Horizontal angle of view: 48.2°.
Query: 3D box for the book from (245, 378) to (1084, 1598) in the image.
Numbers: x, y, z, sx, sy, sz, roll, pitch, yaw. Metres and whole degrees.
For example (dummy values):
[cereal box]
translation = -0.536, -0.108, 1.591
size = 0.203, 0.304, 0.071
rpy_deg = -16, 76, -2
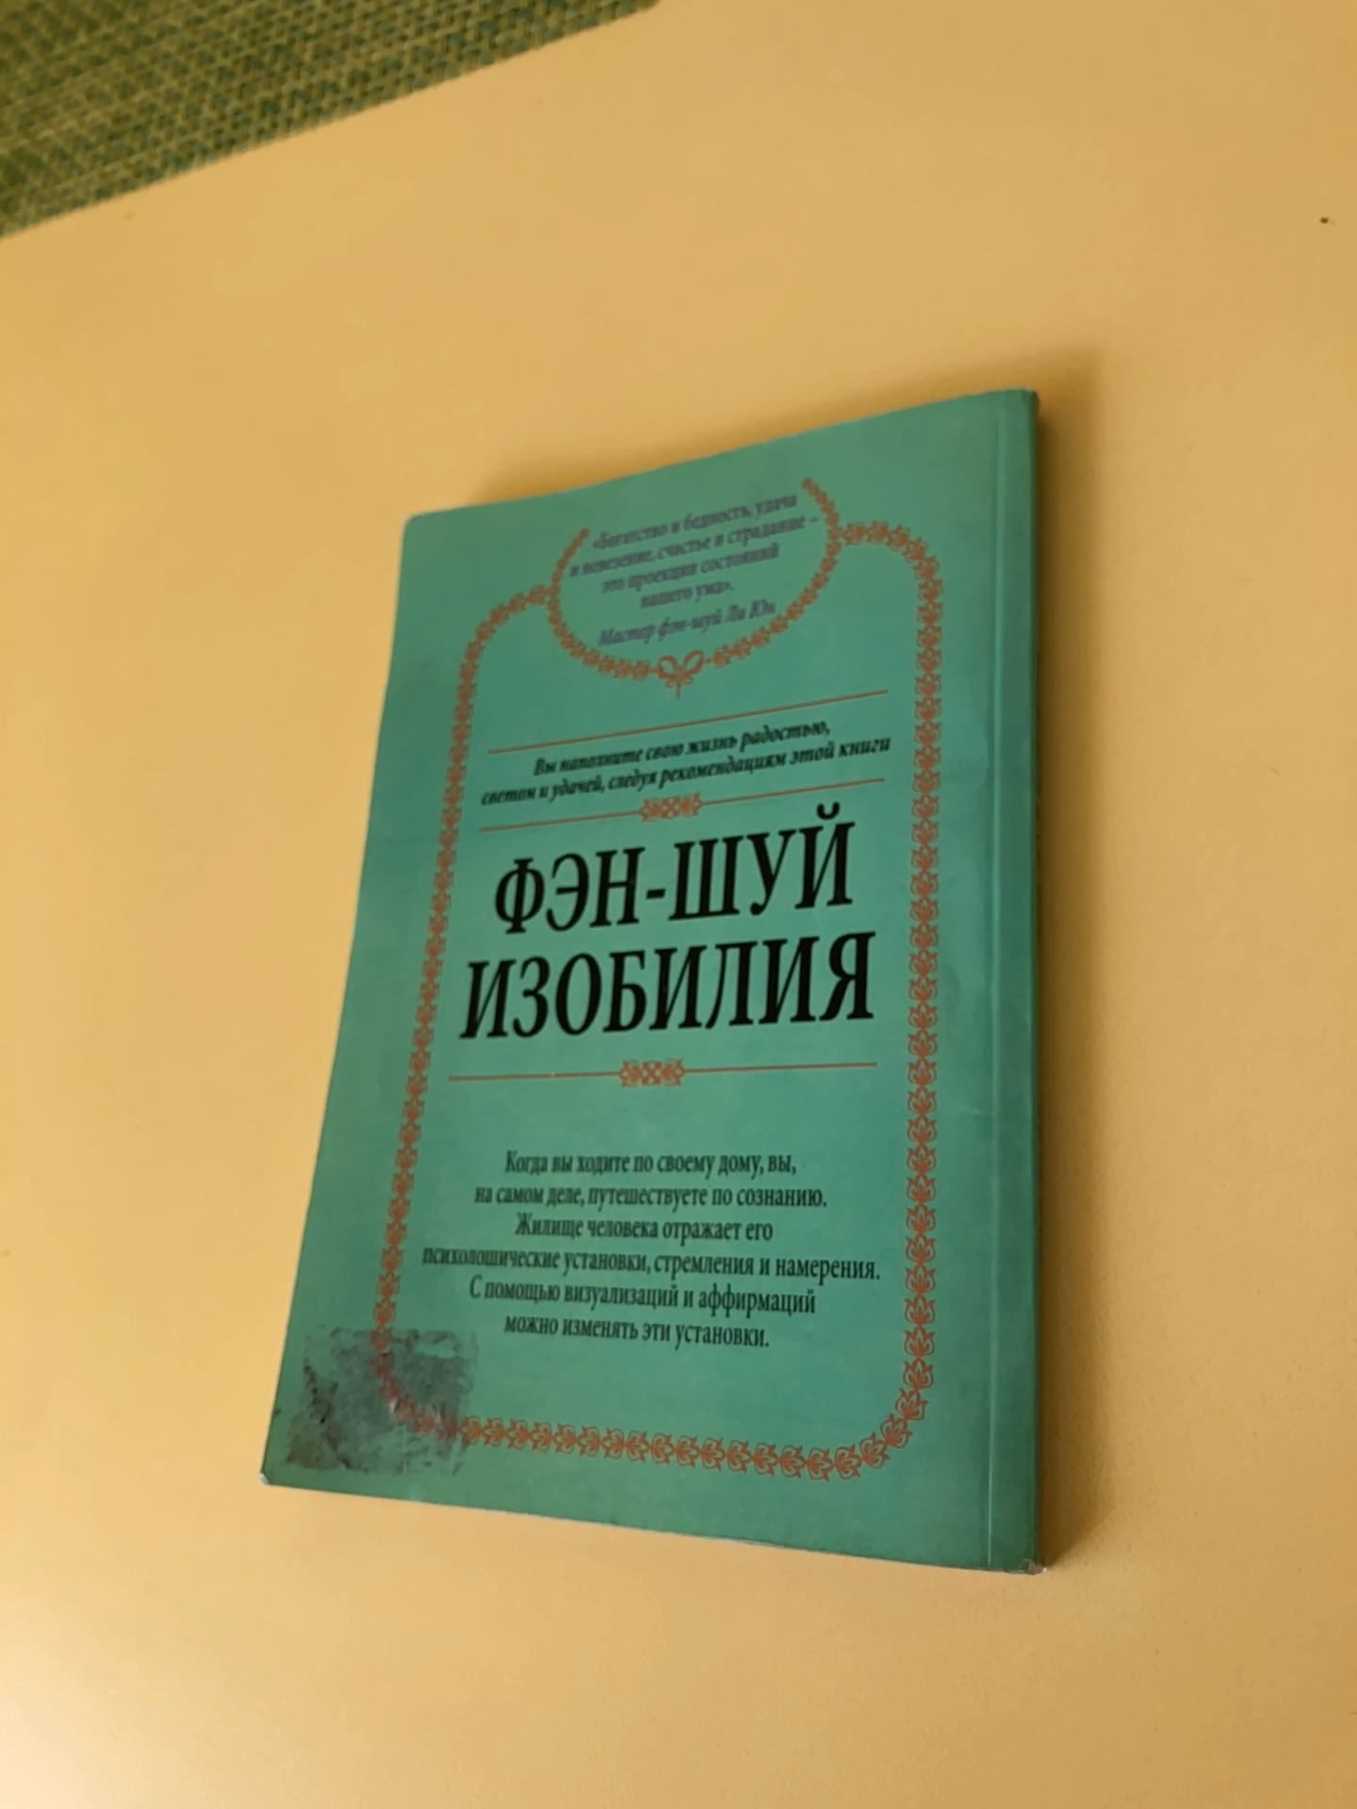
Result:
[book]
translation = 0.000, 0.008, 0.233
size = 0.118, 0.020, 0.166
rpy_deg = -5, 69, 26
